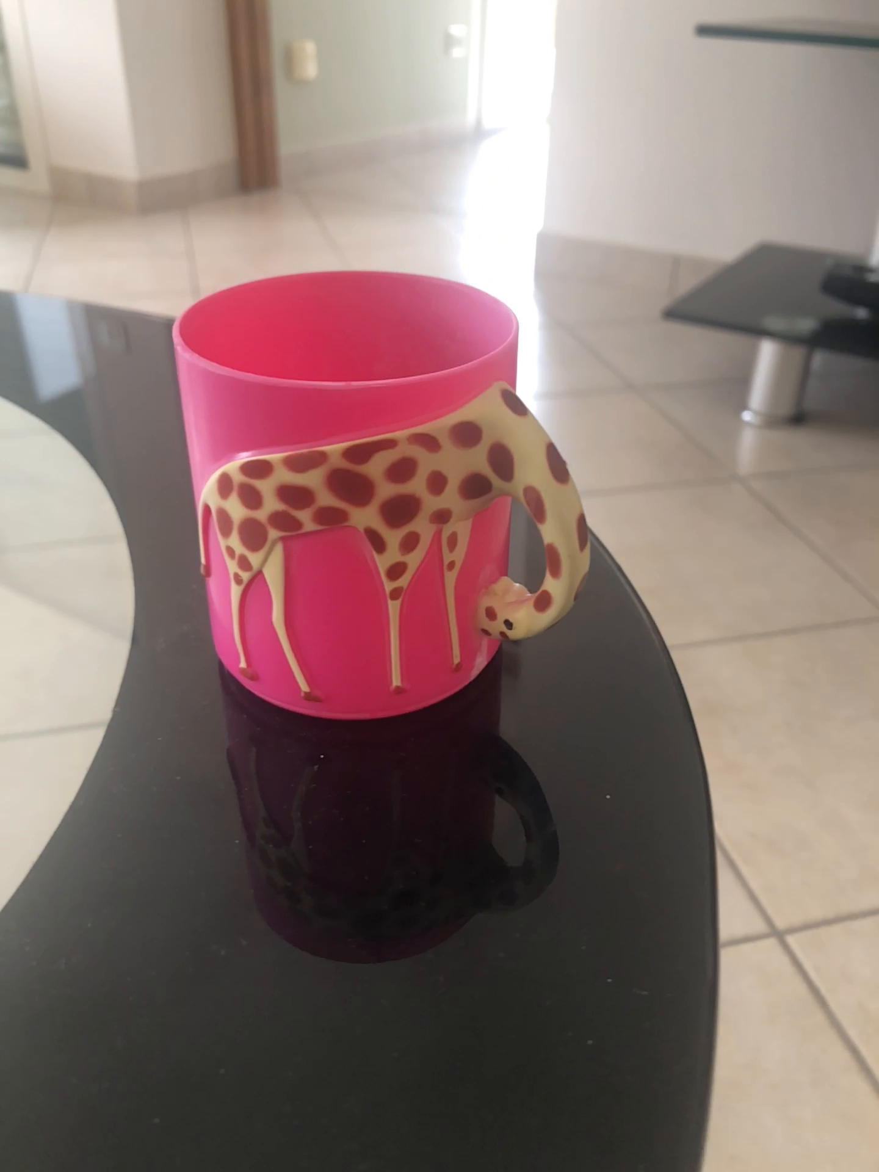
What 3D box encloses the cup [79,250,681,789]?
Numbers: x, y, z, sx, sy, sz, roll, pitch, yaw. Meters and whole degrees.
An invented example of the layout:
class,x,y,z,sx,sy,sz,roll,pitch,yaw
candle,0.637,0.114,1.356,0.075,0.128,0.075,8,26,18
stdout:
class,x,y,z,sx,sy,sz,roll,pitch,yaw
cup,-0.008,-0.020,0.201,0.090,0.070,0.070,14,34,19
